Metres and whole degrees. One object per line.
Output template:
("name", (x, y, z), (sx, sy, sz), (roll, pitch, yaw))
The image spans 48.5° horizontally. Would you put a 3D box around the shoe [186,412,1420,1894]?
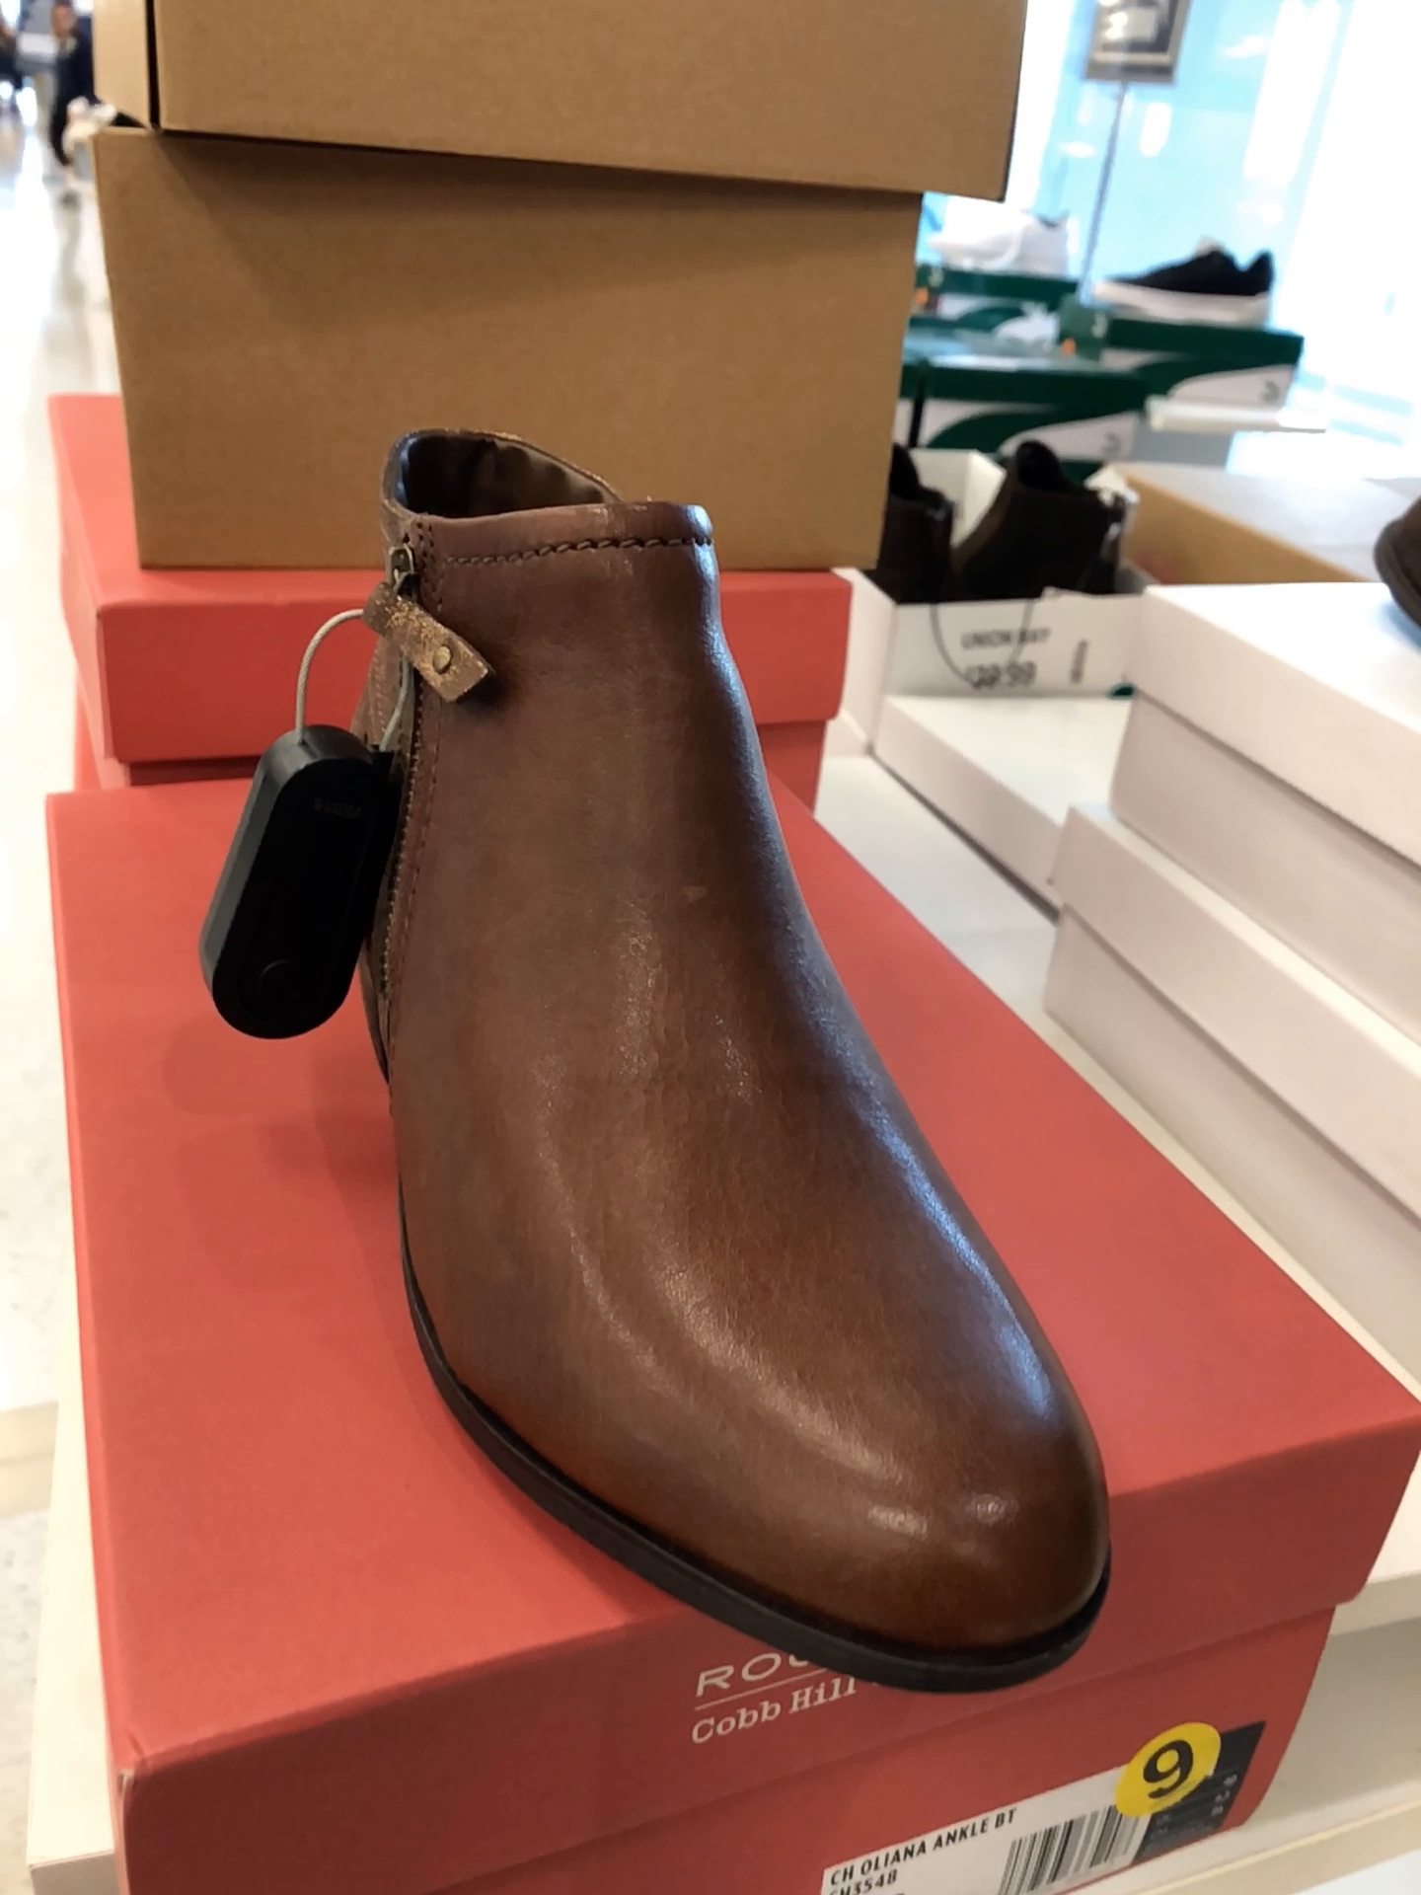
("shoe", (-0.016, -0.007, 0.288), (0.101, 0.119, 0.282), (-7, 31, -25))
